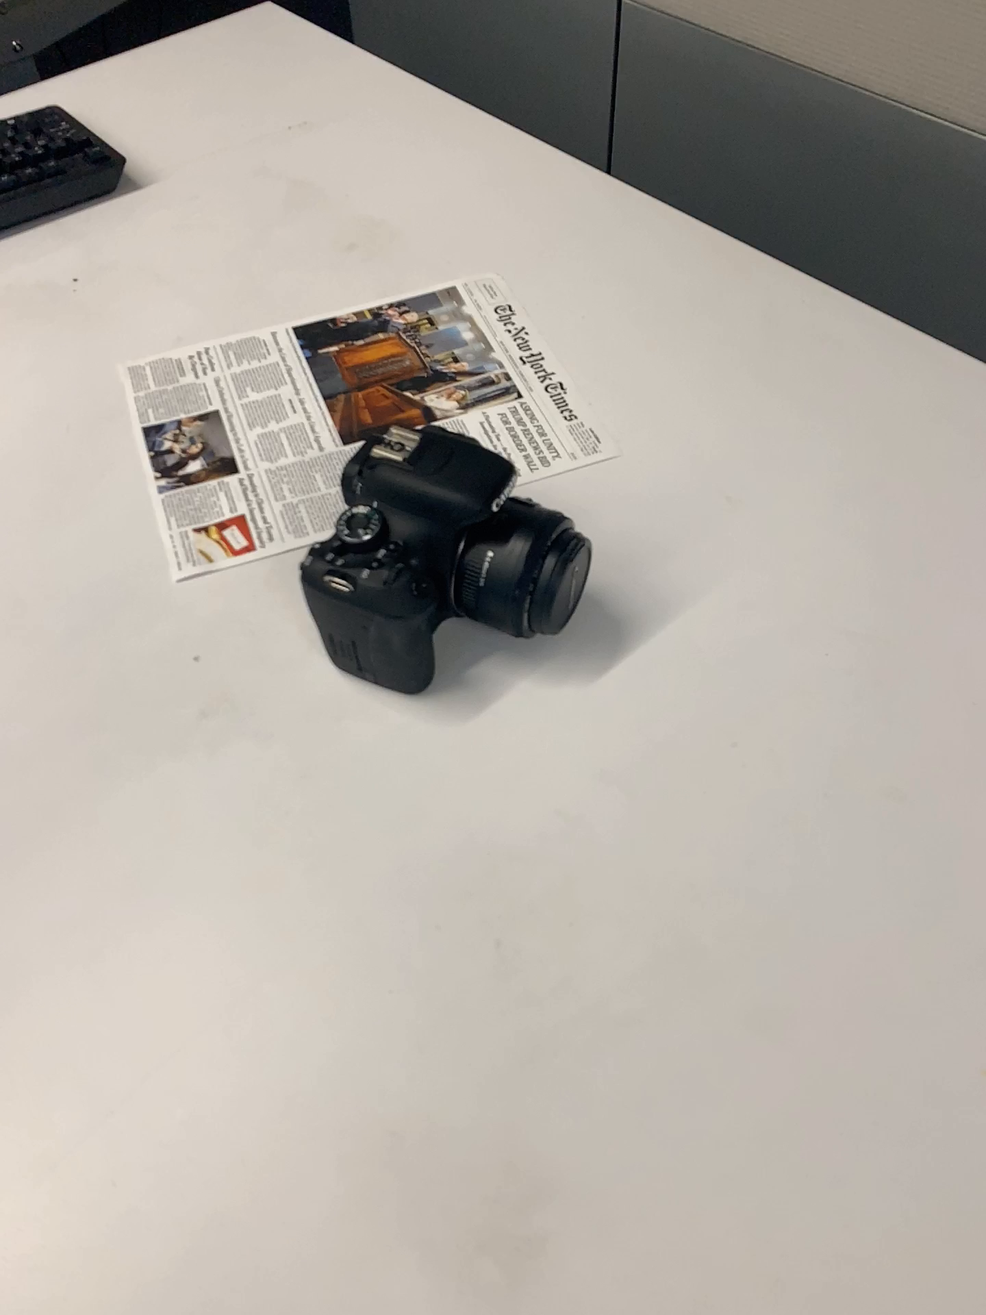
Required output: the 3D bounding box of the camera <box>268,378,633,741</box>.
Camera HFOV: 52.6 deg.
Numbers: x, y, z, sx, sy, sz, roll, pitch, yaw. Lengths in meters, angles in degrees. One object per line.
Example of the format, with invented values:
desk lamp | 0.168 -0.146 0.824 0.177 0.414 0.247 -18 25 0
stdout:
camera | -0.016 -0.058 0.545 0.136 0.084 0.152 19 55 16
